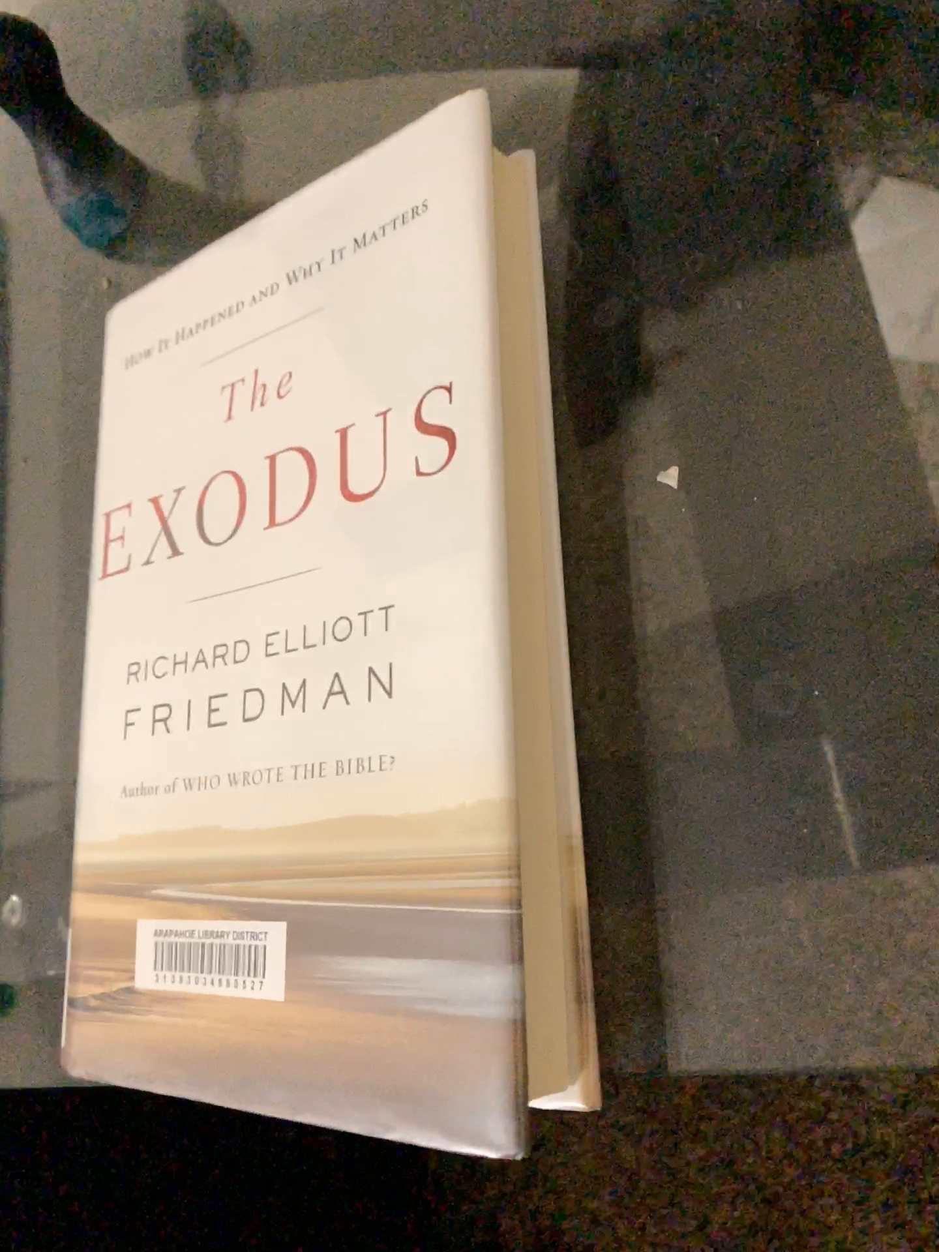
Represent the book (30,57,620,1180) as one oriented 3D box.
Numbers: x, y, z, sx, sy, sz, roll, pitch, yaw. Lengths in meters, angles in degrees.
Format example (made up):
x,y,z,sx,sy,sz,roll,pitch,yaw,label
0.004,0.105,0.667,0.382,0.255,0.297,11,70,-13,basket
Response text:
x,y,z,sx,sy,sz,roll,pitch,yaw,label
-0.048,-0.001,0.253,0.161,0.030,0.231,-10,76,34,book
